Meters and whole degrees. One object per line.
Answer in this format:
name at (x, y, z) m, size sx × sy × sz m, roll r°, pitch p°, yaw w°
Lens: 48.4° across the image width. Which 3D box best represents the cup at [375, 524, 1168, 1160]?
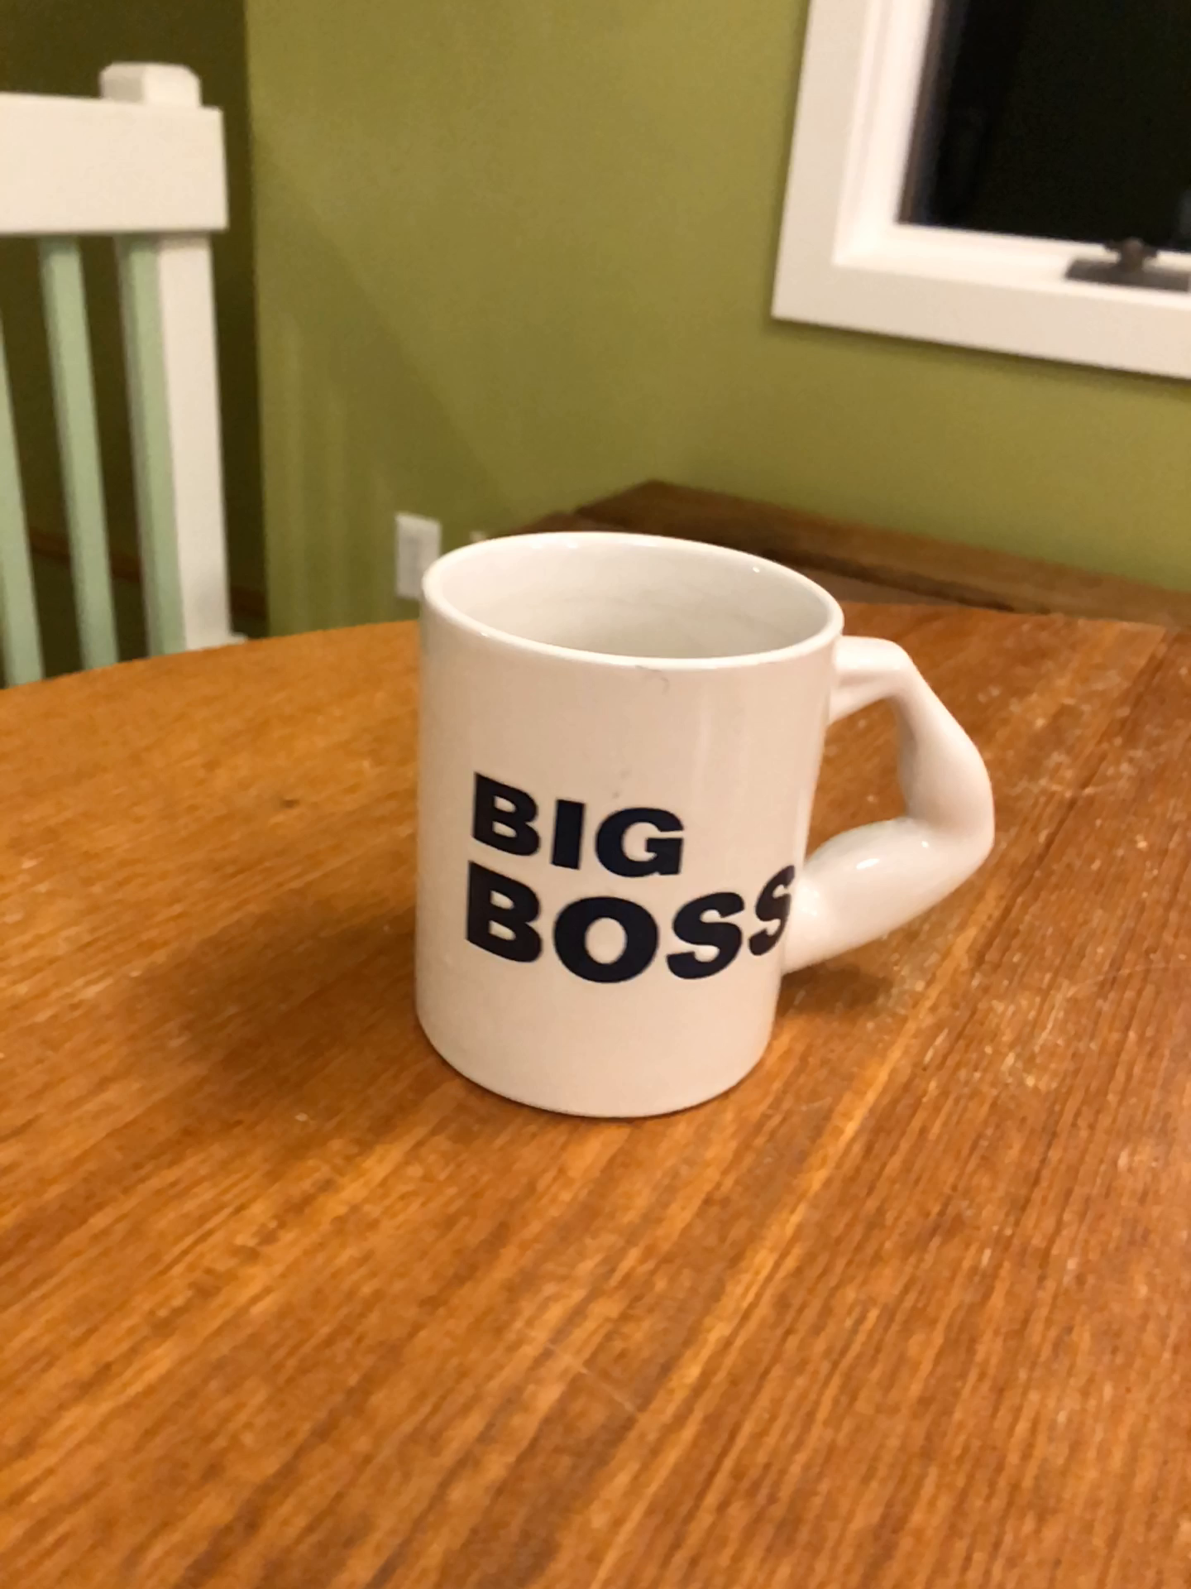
cup at (0.027, 0.002, 0.292) m, size 0.138 × 0.099 × 0.088 m, roll -4°, pitch 27°, yaw -17°
